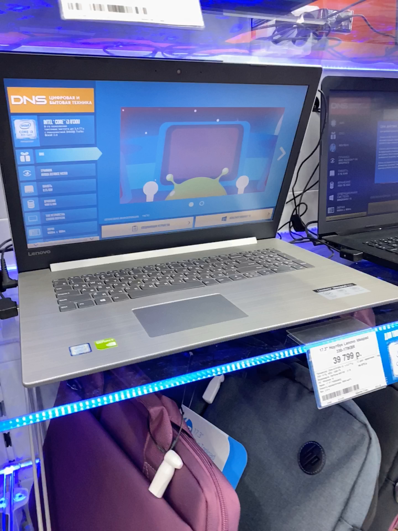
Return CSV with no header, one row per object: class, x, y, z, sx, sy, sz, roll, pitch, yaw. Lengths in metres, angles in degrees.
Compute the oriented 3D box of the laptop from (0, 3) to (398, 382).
laptop,-0.005,-0.100,0.476,0.417,0.256,0.280,-8,19,-22
